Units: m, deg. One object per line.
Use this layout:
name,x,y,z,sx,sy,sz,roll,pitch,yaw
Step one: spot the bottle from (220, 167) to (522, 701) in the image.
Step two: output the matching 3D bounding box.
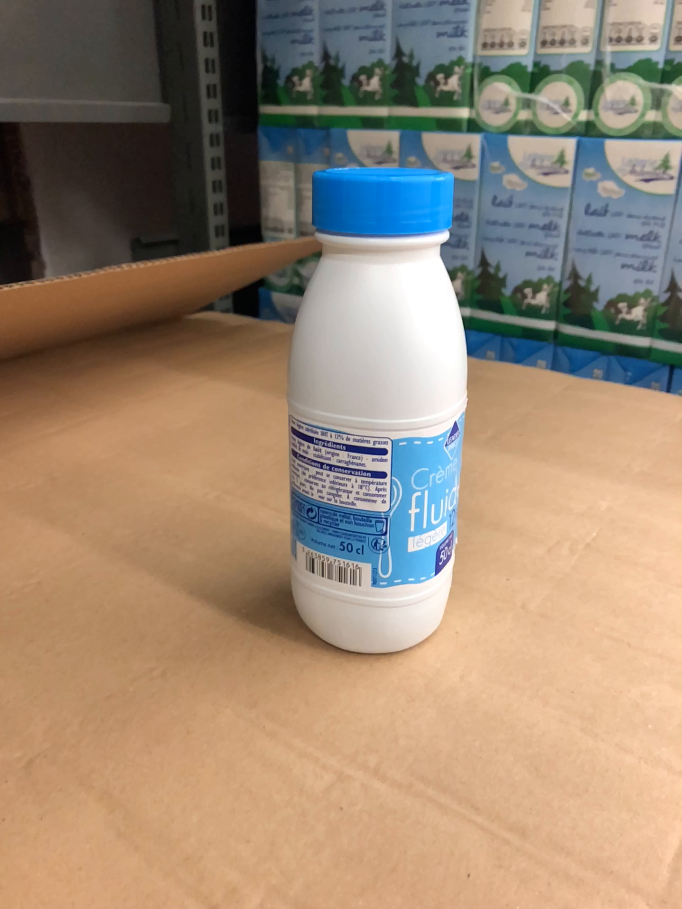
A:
bottle,0.013,-0.013,0.308,0.080,0.189,0.080,0,23,0
